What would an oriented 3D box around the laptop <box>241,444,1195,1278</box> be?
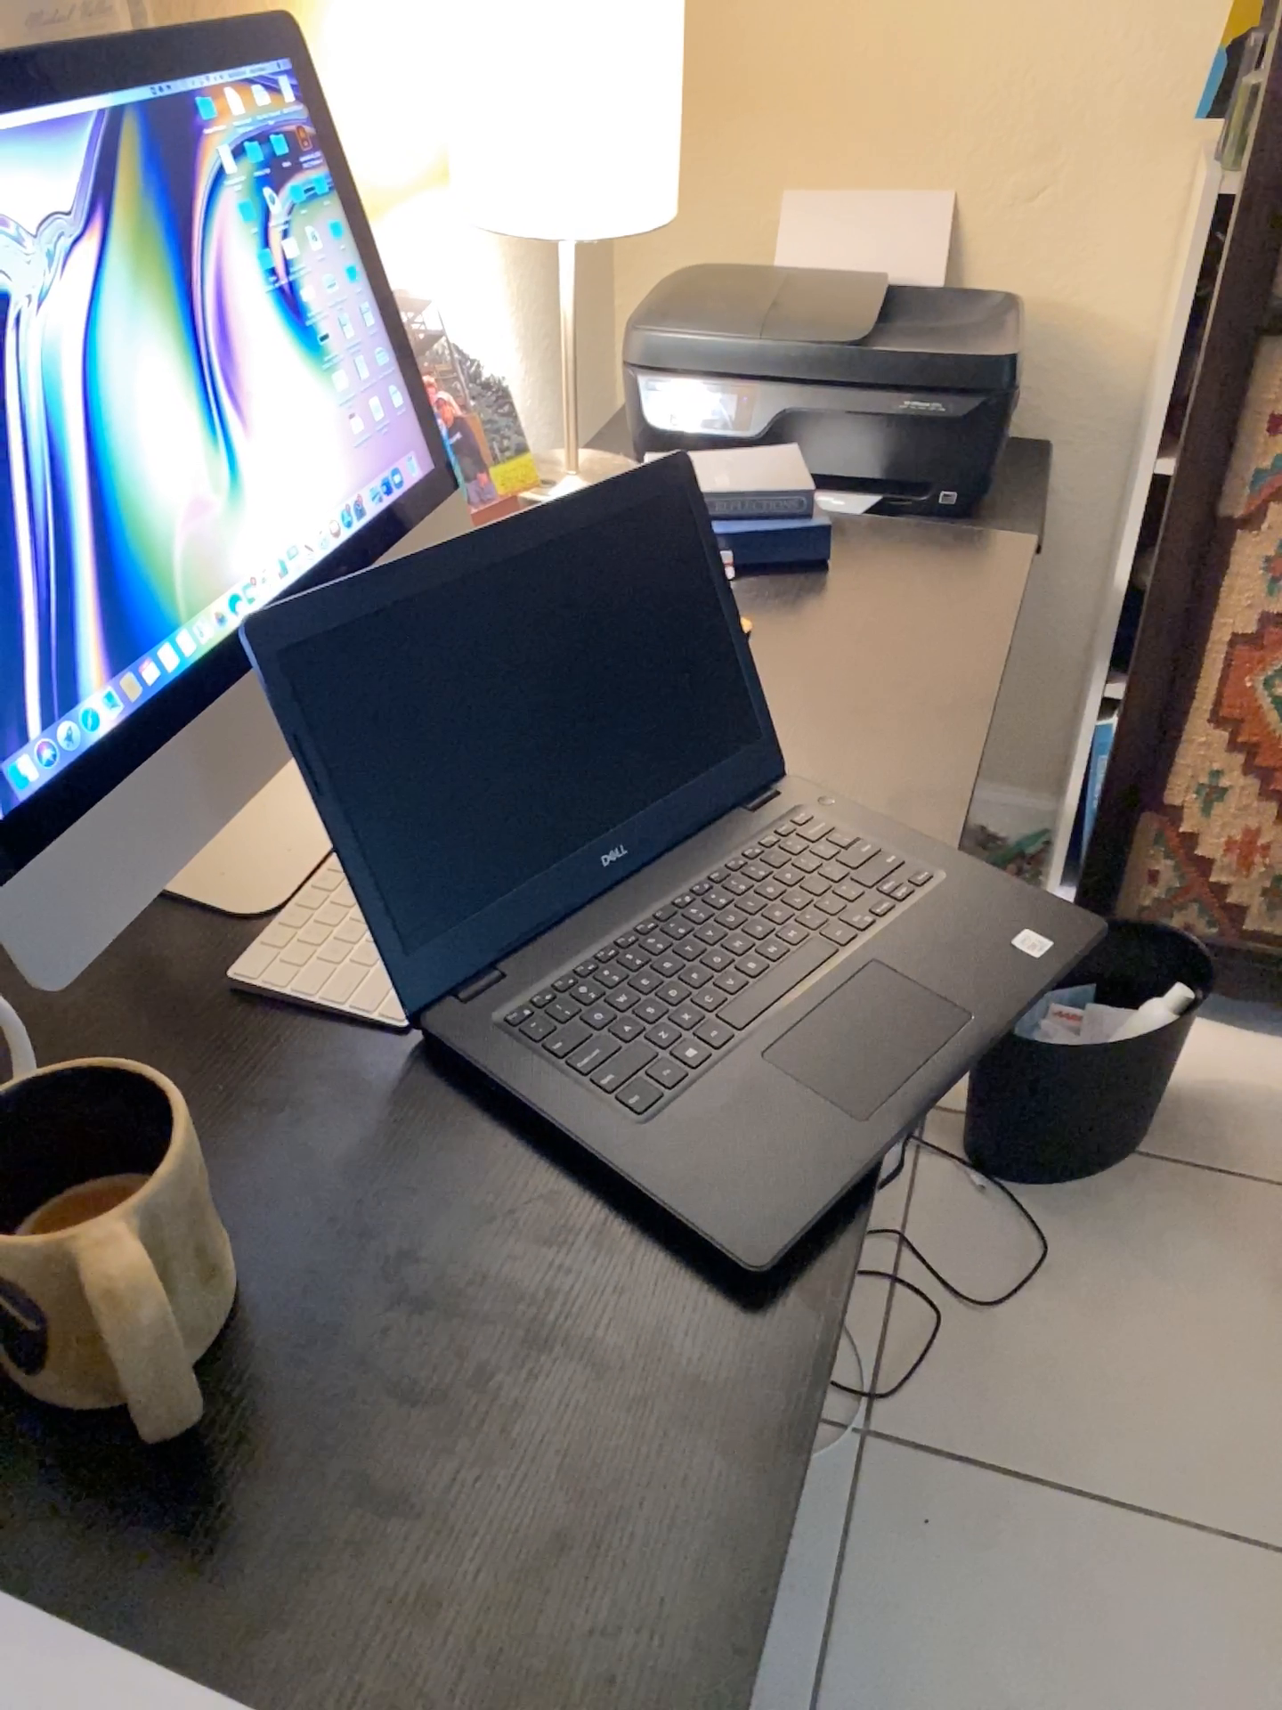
[{"bbox_3d":[0.041,-0.039,0.720,0.343,0.206,0.337,29,46,33],"label":"laptop"}]
